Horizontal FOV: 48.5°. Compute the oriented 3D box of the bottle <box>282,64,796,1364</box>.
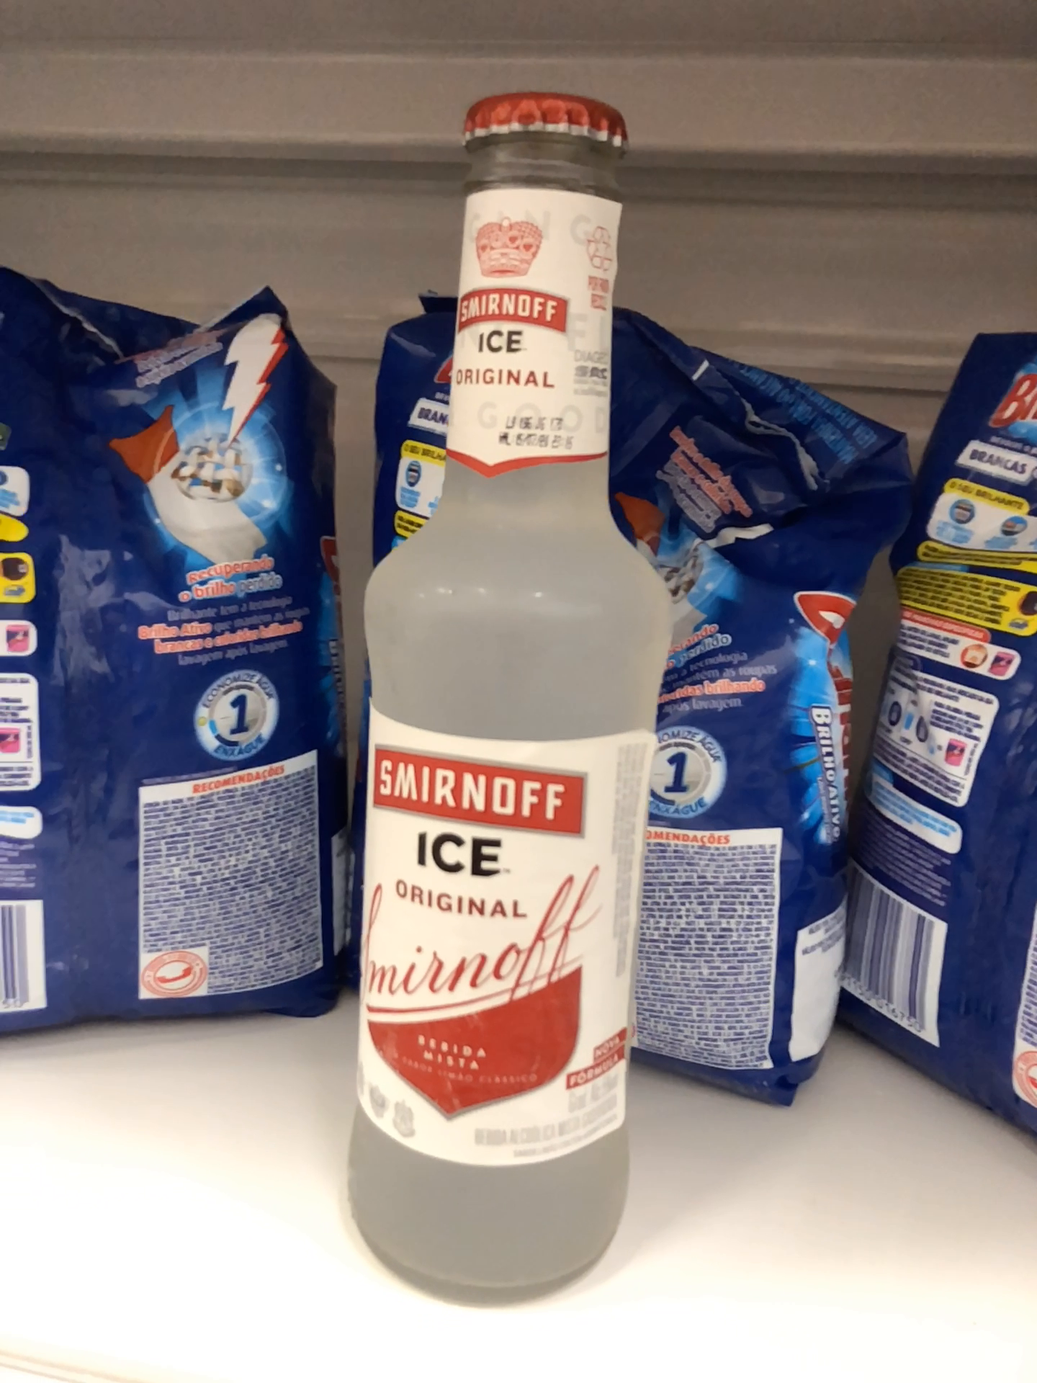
[{"bbox_3d":[0.003,0.005,0.219,0.070,0.209,0.060,7,13,18],"label":"bottle"}]
